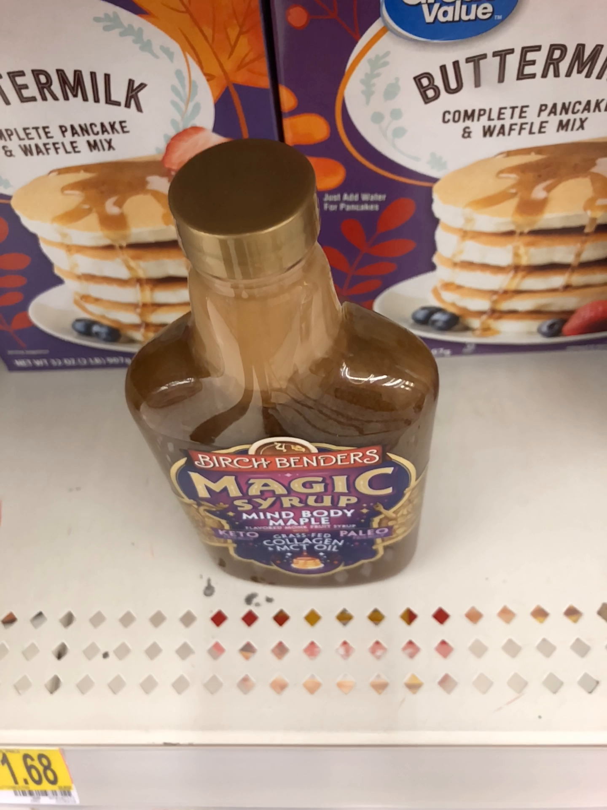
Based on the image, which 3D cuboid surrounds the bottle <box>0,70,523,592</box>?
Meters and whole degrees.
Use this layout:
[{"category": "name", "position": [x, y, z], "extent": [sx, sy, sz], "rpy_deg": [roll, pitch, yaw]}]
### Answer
[{"category": "bottle", "position": [-0.004, 0.001, 0.206], "extent": [0.100, 0.180, 0.050], "rpy_deg": [1, 57, 6]}]
